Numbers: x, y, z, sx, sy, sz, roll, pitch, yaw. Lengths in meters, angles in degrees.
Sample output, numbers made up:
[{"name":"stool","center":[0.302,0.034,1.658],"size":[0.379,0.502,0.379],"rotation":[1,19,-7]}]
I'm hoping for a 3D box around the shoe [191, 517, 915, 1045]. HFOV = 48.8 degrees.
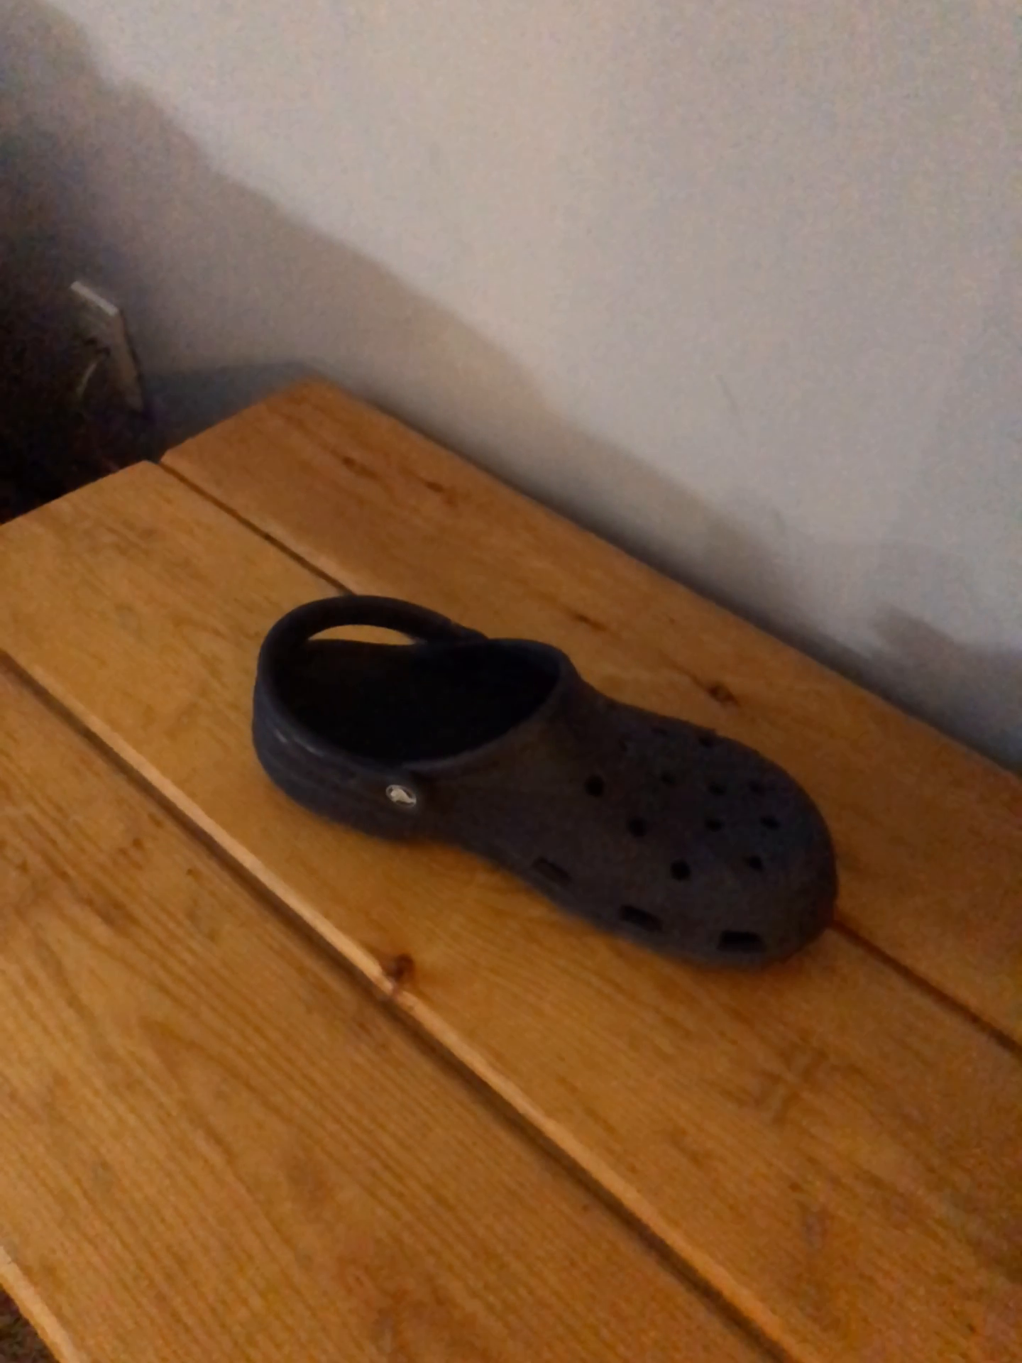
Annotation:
[{"name":"shoe","center":[0.017,0.033,0.522],"size":[0.290,0.080,0.130],"rotation":[20,48,16]}]
